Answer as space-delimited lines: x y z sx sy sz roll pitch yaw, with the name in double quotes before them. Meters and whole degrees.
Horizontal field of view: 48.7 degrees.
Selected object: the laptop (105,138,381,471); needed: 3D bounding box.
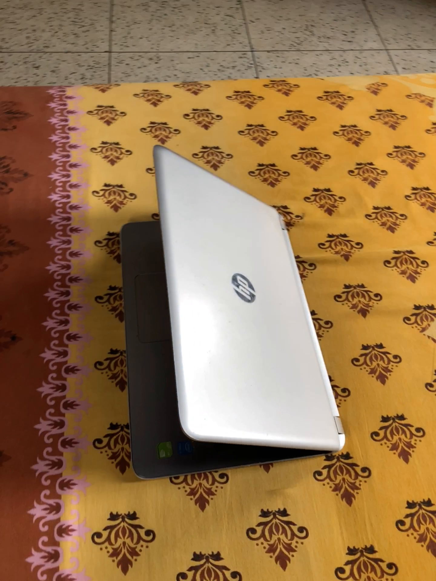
"laptop" 0.002 0.002 0.605 0.249 0.155 0.373 -5 59 -8
